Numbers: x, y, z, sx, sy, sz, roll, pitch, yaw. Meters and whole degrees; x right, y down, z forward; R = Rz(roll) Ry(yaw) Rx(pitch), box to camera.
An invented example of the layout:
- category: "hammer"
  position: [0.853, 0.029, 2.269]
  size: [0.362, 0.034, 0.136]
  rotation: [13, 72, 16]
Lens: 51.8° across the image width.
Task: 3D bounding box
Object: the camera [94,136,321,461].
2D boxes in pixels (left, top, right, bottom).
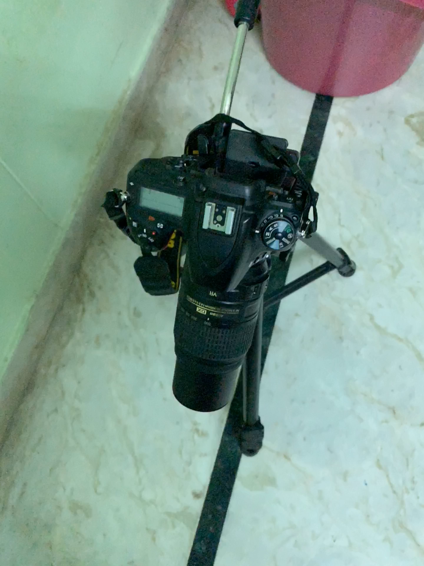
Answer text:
- category: "camera"
  position: [-0.006, 0.008, 0.362]
  size: [0.130, 0.214, 0.116]
  rotation: [15, 28, 9]
